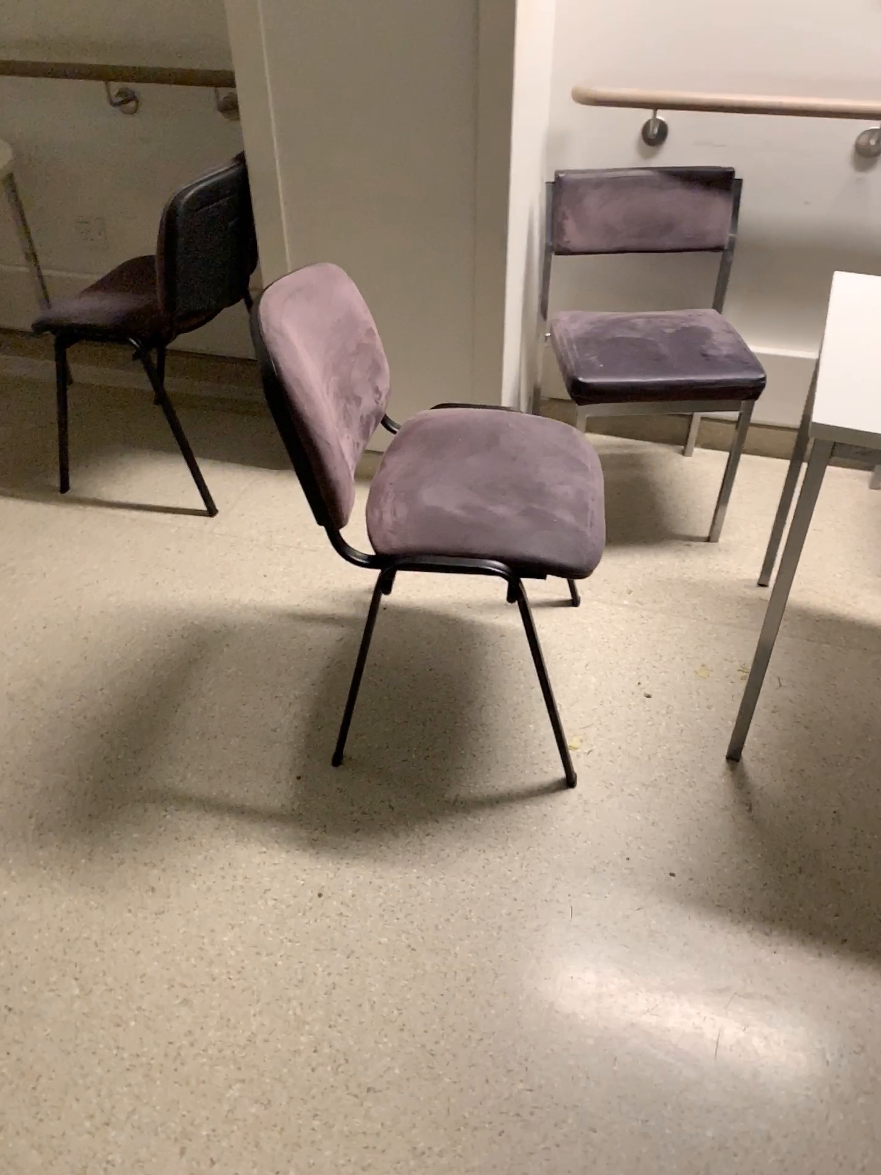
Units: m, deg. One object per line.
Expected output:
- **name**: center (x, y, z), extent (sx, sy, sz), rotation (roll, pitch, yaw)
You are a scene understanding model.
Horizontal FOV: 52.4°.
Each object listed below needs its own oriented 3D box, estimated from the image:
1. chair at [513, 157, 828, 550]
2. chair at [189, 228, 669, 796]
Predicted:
- **chair**: center (0.469, -0.557, 2.124), extent (0.500, 0.723, 0.565), rotation (-2, 38, -2)
- **chair**: center (0.016, -0.144, 1.577), extent (0.600, 0.753, 0.606), rotation (4, 38, 6)
